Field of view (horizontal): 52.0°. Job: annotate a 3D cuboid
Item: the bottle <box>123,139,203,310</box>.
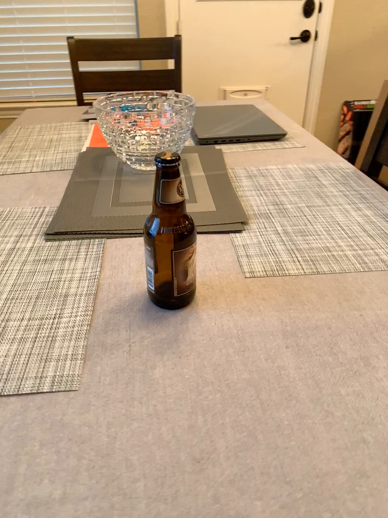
[{"bbox_3d":[-0.030,-0.038,0.483,0.080,0.189,0.080,0,32,0],"label":"bottle"}]
